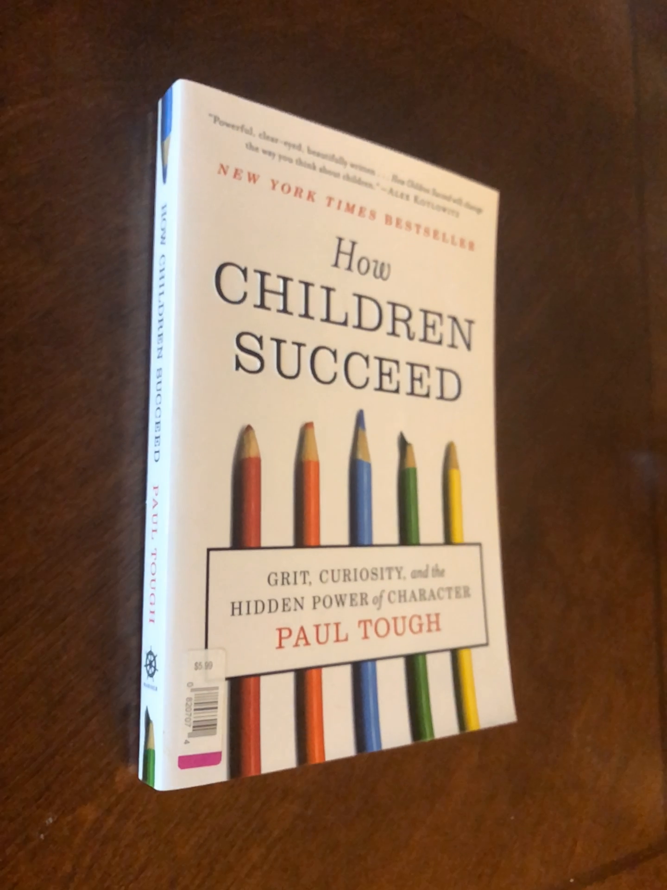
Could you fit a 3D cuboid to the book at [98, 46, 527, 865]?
[{"bbox_3d":[0.002,0.002,0.244,0.140,0.030,0.210,5,82,-35],"label":"book"}]
